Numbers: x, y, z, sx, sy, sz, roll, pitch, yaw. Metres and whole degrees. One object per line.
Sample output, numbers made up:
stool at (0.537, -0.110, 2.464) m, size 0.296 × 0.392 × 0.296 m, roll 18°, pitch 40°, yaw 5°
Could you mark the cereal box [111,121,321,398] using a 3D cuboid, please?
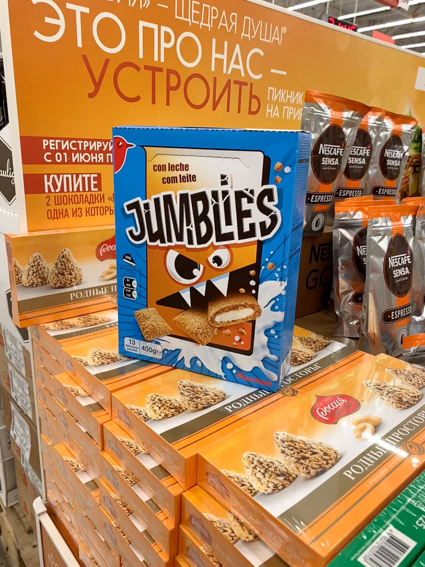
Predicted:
cereal box at (-0.004, -0.032, 0.467) m, size 0.200 × 0.259 × 0.060 m, roll 9°, pitch 17°, yaw 22°
